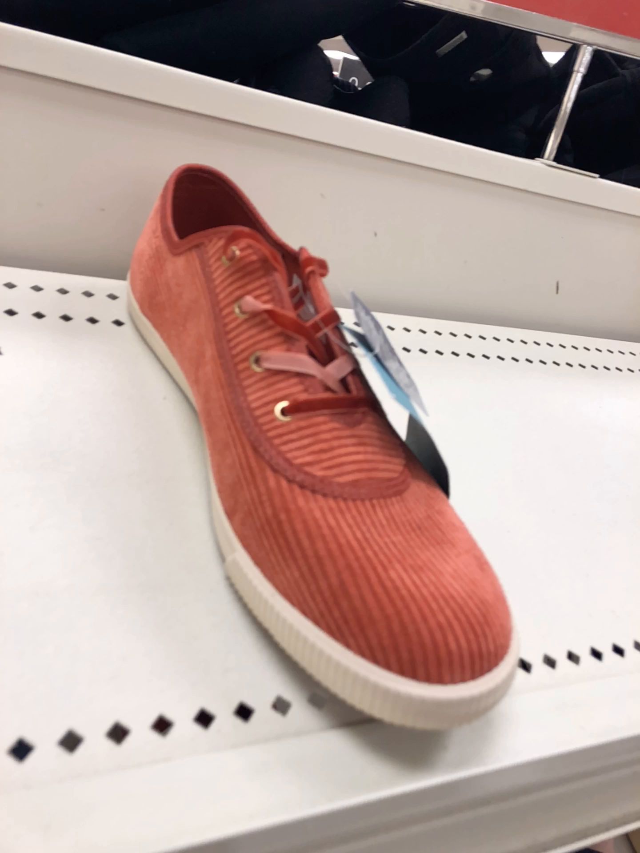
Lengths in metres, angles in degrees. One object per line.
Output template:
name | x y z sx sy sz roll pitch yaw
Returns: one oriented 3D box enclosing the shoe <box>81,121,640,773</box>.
shoe | -0.016 -0.034 0.310 0.100 0.089 0.322 -1 36 -32
